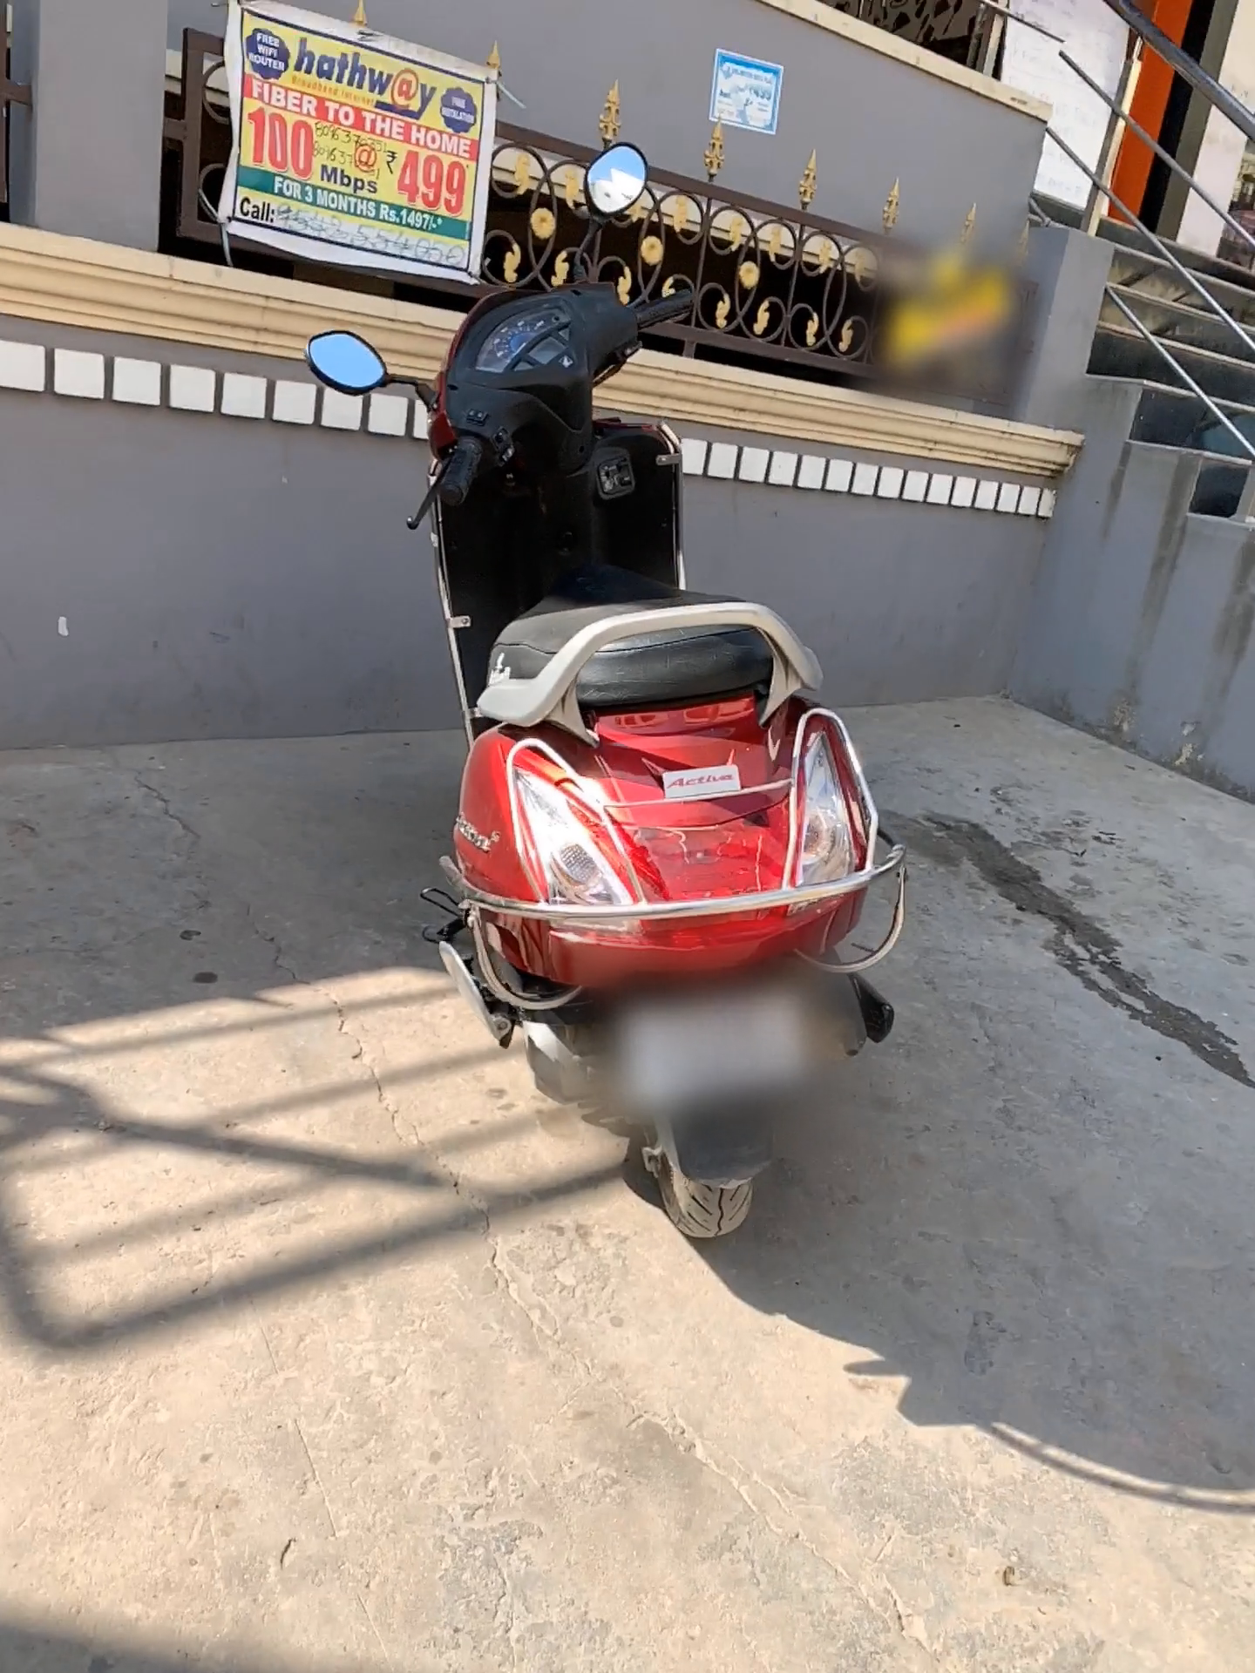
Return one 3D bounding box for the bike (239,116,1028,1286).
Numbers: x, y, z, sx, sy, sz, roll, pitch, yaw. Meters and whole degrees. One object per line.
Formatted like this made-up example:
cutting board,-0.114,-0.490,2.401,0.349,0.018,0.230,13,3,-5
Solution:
bike,-0.254,-0.402,2.083,0.623,1.164,1.762,3,22,-18
